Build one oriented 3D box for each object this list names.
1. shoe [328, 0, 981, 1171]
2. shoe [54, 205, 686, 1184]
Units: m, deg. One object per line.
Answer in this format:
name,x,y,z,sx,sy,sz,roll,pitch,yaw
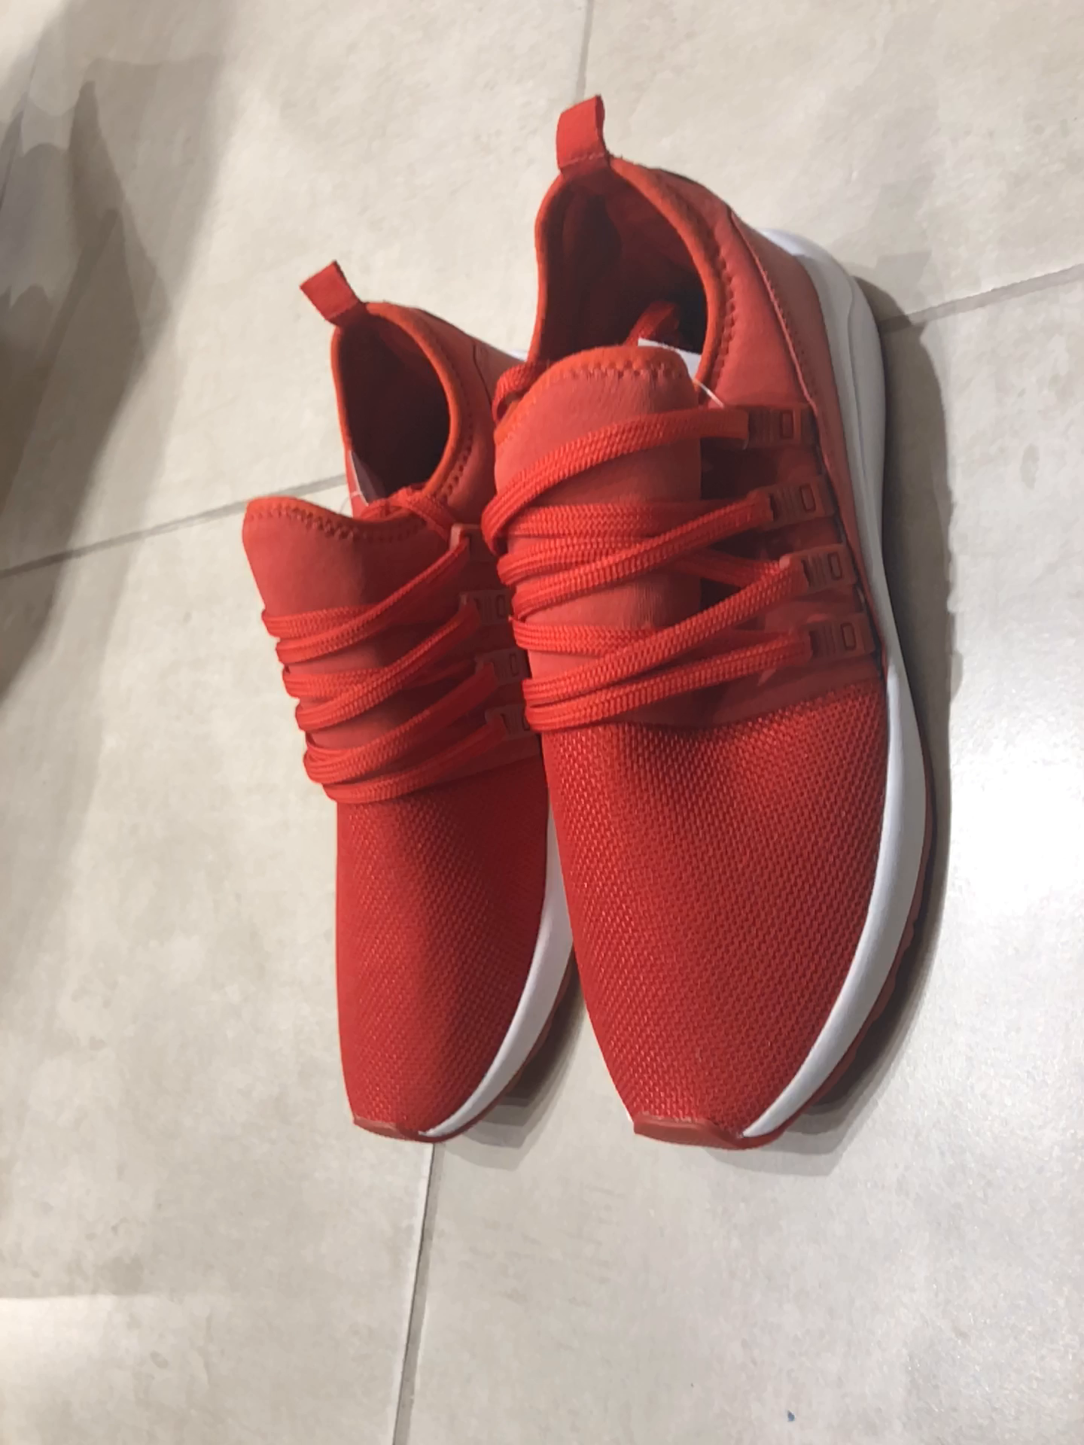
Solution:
shoe,0.042,-0.026,0.335,0.100,0.139,0.270,-9,70,40
shoe,-0.045,0.000,0.403,0.100,0.139,0.270,-4,73,41
